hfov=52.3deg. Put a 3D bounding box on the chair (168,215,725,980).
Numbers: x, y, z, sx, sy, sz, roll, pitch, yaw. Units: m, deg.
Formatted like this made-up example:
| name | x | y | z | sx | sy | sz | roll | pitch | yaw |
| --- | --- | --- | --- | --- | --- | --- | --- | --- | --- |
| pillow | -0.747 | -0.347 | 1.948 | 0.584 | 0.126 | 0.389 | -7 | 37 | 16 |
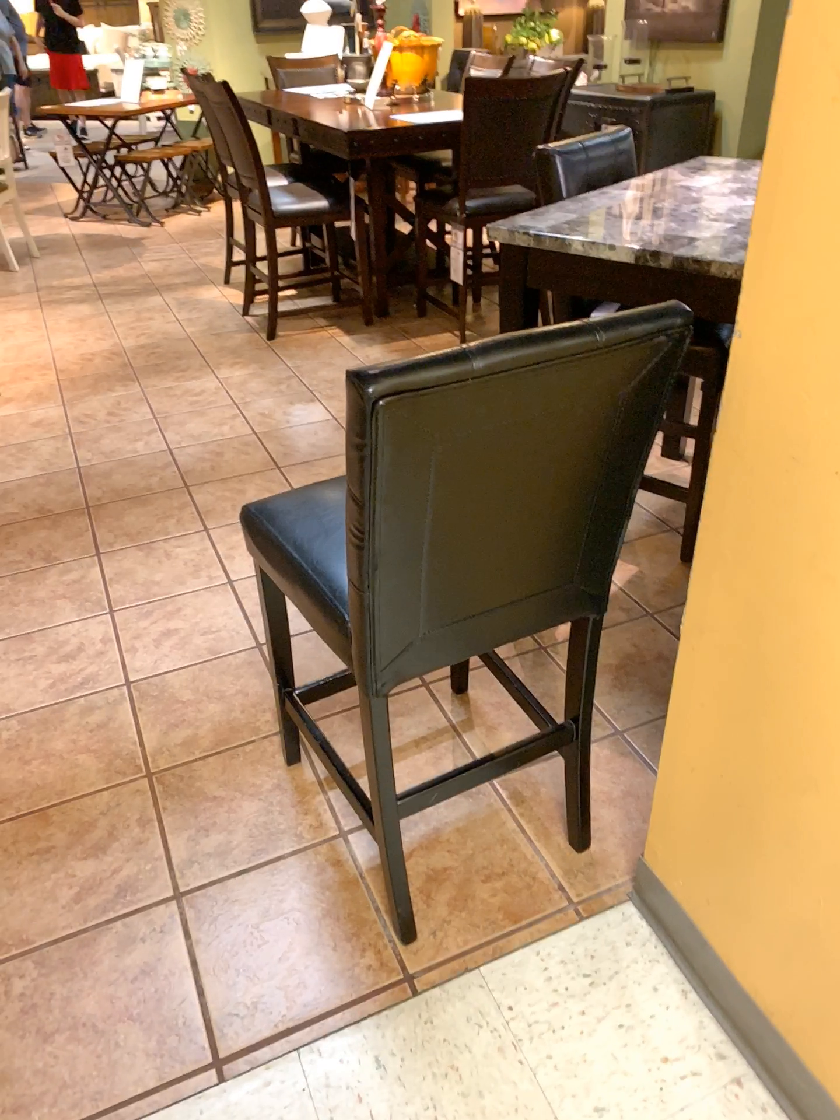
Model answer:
| name | x | y | z | sx | sy | sz | roll | pitch | yaw |
| --- | --- | --- | --- | --- | --- | --- | --- | --- | --- |
| chair | 0.003 | 0.031 | 1.391 | 0.498 | 0.961 | 0.621 | -17 | 36 | -22 |
